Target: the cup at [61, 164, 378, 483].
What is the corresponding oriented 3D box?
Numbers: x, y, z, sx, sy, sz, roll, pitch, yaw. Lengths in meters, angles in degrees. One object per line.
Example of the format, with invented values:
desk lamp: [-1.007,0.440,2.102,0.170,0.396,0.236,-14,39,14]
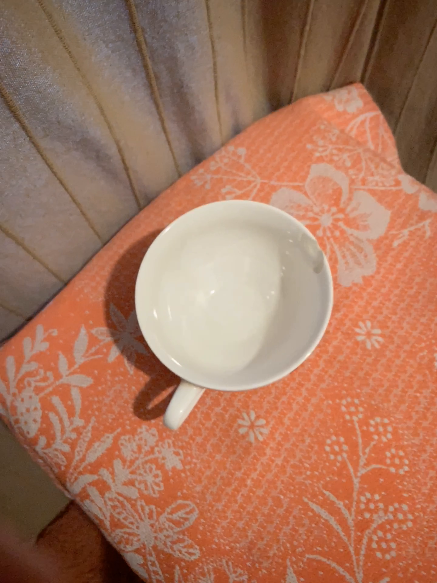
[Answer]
cup: [0.005,0.015,0.265,0.114,0.056,0.137,27,72,13]
